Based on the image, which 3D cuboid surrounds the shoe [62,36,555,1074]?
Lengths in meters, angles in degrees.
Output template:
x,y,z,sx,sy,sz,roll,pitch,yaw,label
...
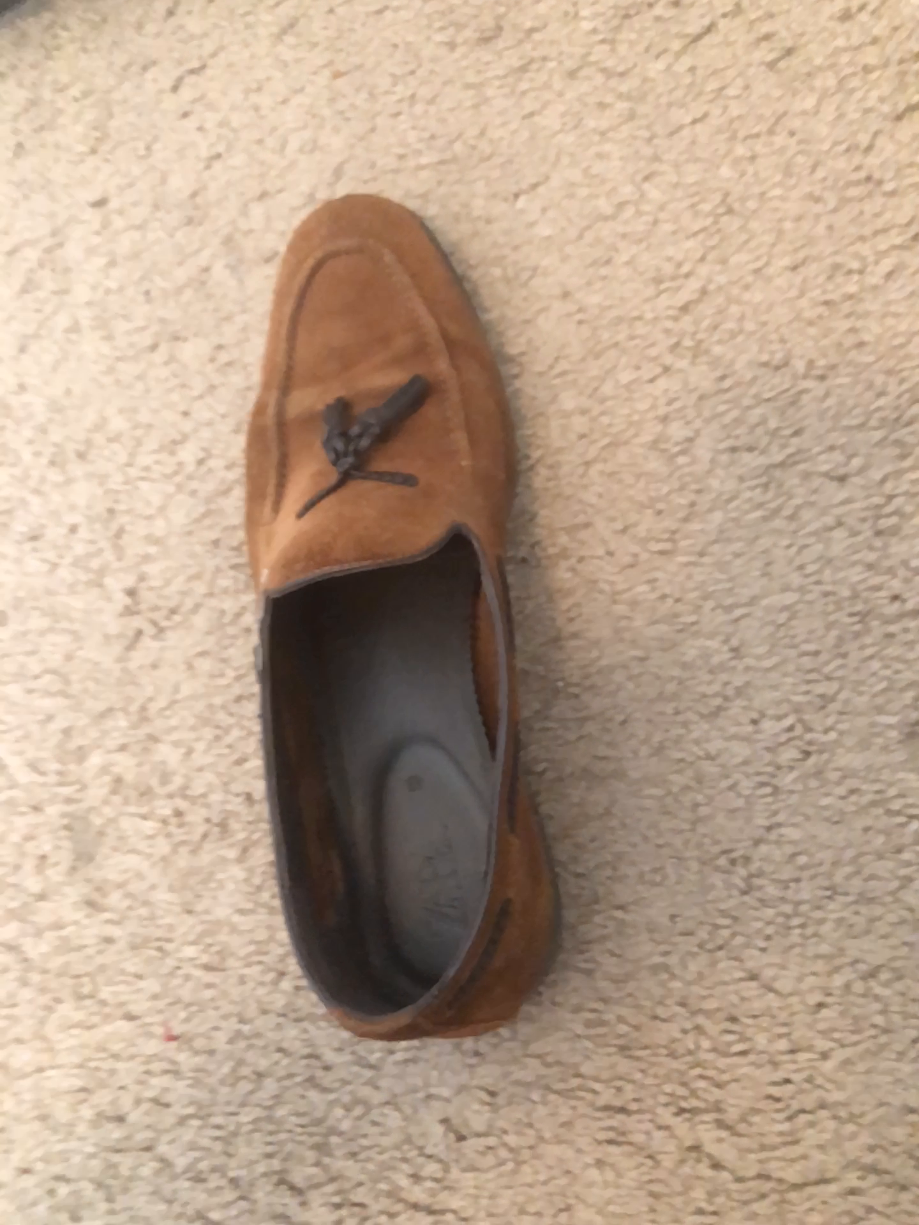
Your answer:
x,y,z,sx,sy,sz,roll,pitch,yaw,label
-0.049,-0.016,0.345,0.090,0.100,0.292,-12,80,20,shoe
